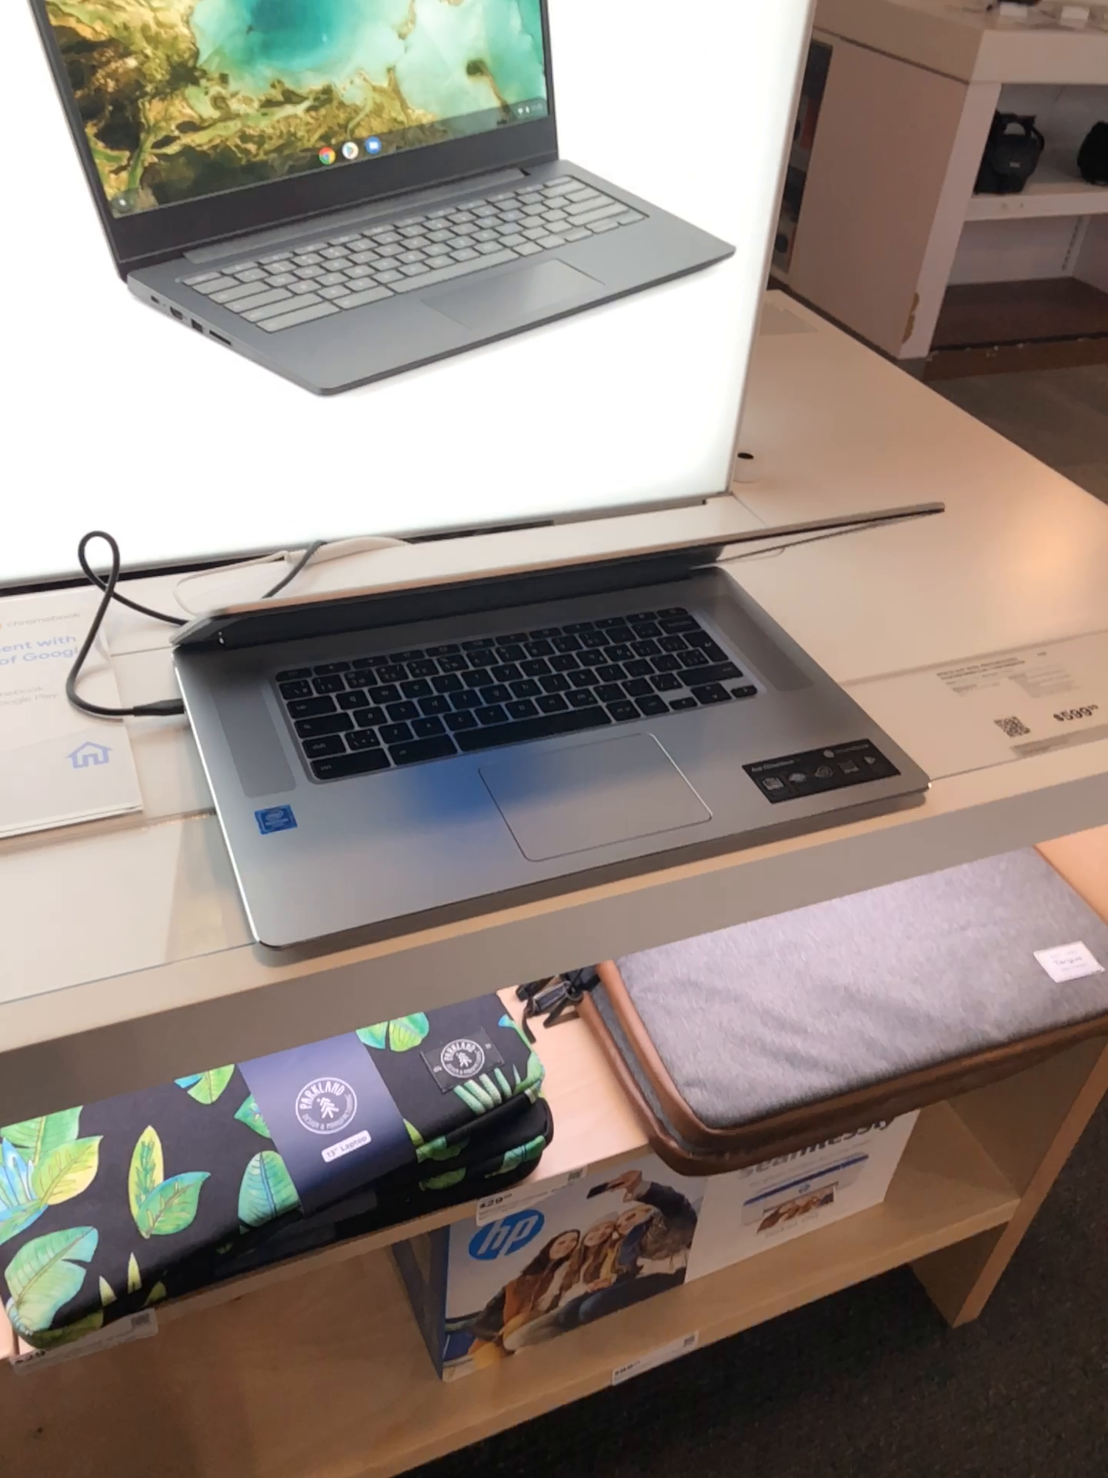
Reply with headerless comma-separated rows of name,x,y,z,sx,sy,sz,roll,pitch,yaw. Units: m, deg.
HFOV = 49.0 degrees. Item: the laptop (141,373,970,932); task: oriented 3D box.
laptop,-0.007,-0.072,0.661,0.365,0.146,0.231,-11,42,-23
